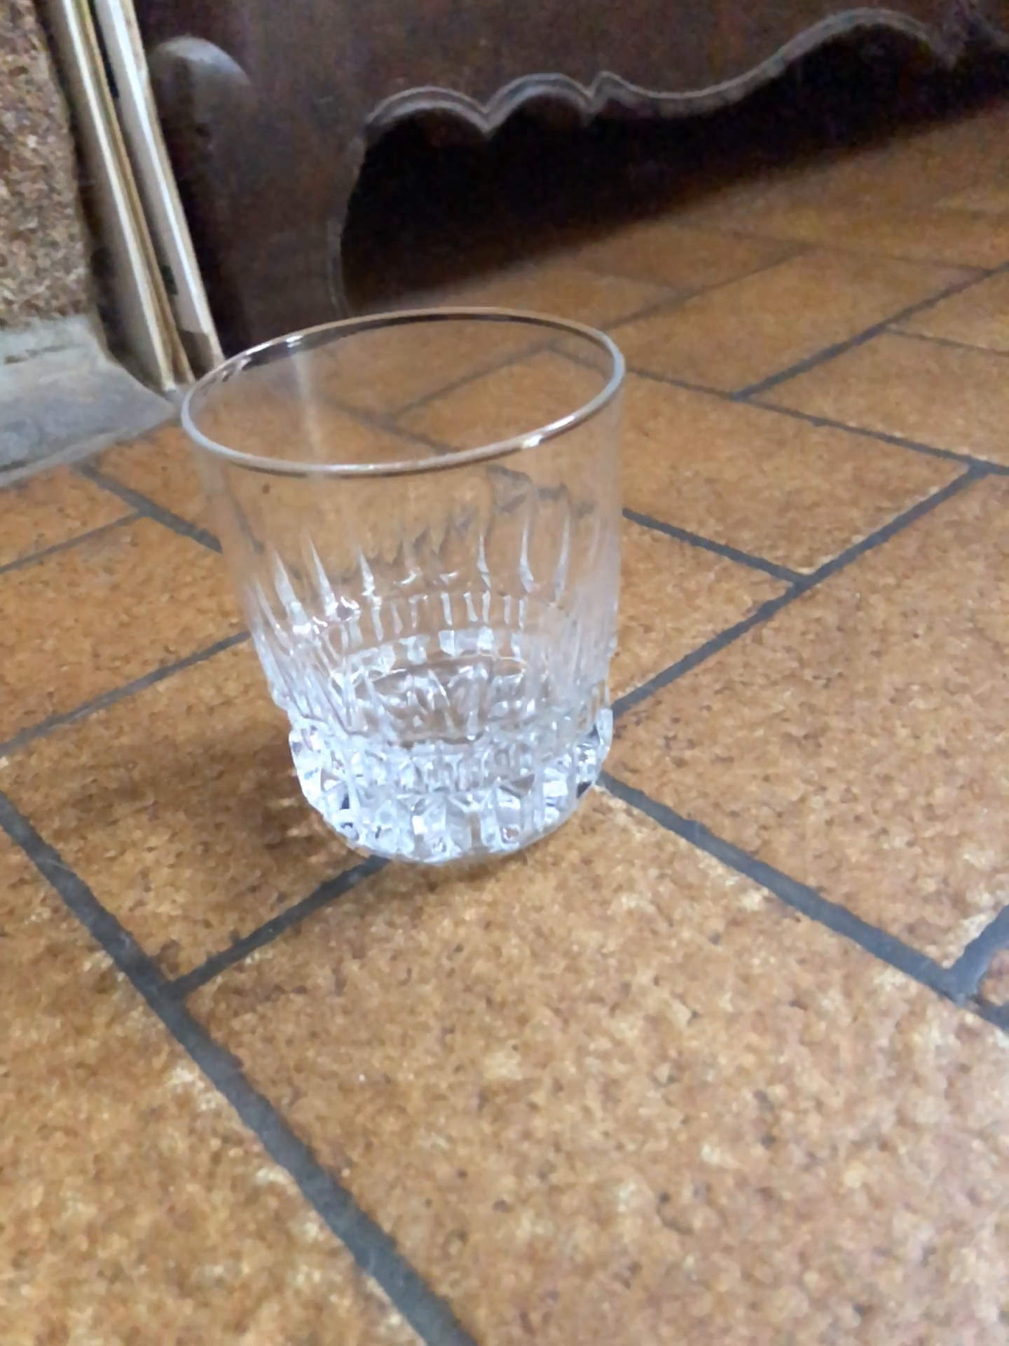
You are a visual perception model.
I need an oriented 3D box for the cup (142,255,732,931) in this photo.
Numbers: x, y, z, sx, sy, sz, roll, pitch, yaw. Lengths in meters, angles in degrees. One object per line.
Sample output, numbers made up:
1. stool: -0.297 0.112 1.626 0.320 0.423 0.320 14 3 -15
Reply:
1. cup: -0.013 -0.022 0.222 0.080 0.089 0.080 -4 34 2
